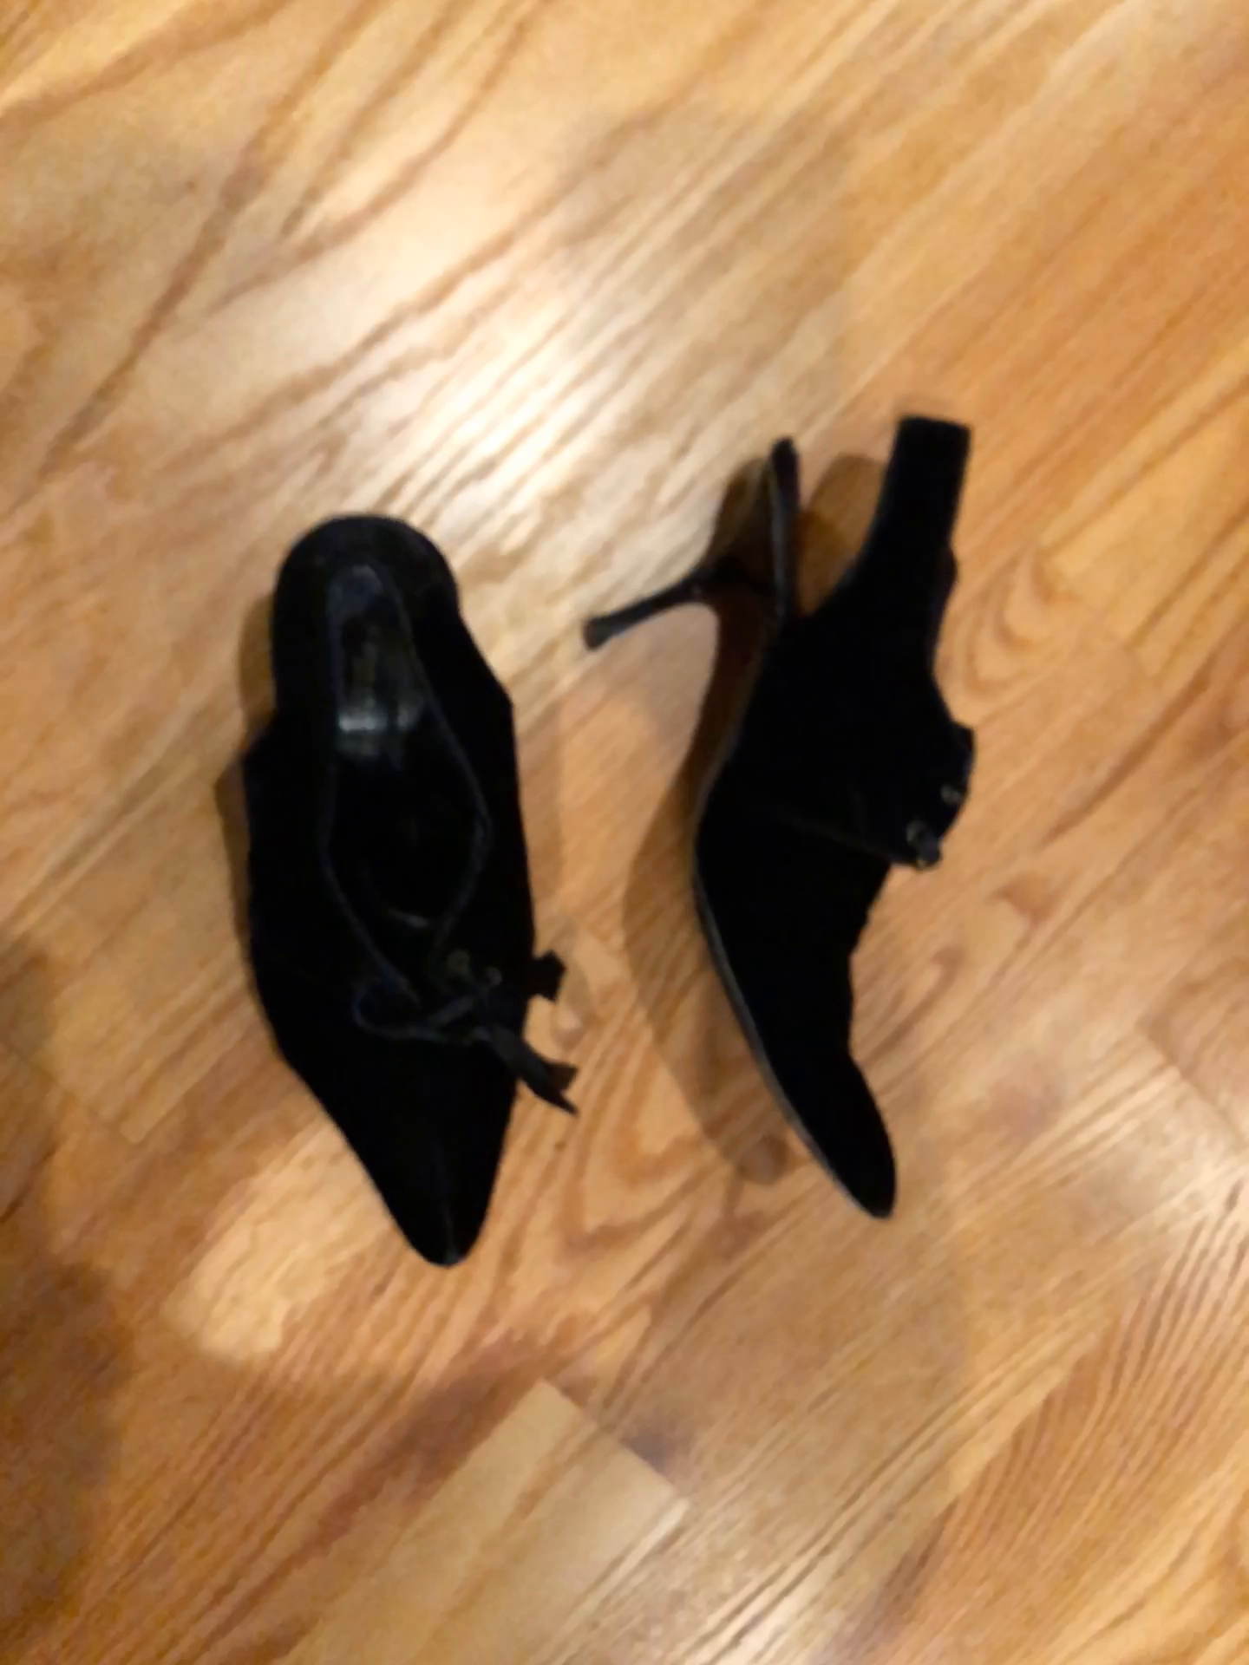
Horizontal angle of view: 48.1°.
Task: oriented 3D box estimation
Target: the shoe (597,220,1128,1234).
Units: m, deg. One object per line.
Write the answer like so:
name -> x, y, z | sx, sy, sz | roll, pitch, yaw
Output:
shoe -> 0.062, -0.030, 0.412 | 0.118, 0.107, 0.252 | -3, 98, -11

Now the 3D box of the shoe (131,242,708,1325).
shoe -> -0.057, -0.016, 0.396 | 0.107, 0.117, 0.252 | -8, 99, -12
